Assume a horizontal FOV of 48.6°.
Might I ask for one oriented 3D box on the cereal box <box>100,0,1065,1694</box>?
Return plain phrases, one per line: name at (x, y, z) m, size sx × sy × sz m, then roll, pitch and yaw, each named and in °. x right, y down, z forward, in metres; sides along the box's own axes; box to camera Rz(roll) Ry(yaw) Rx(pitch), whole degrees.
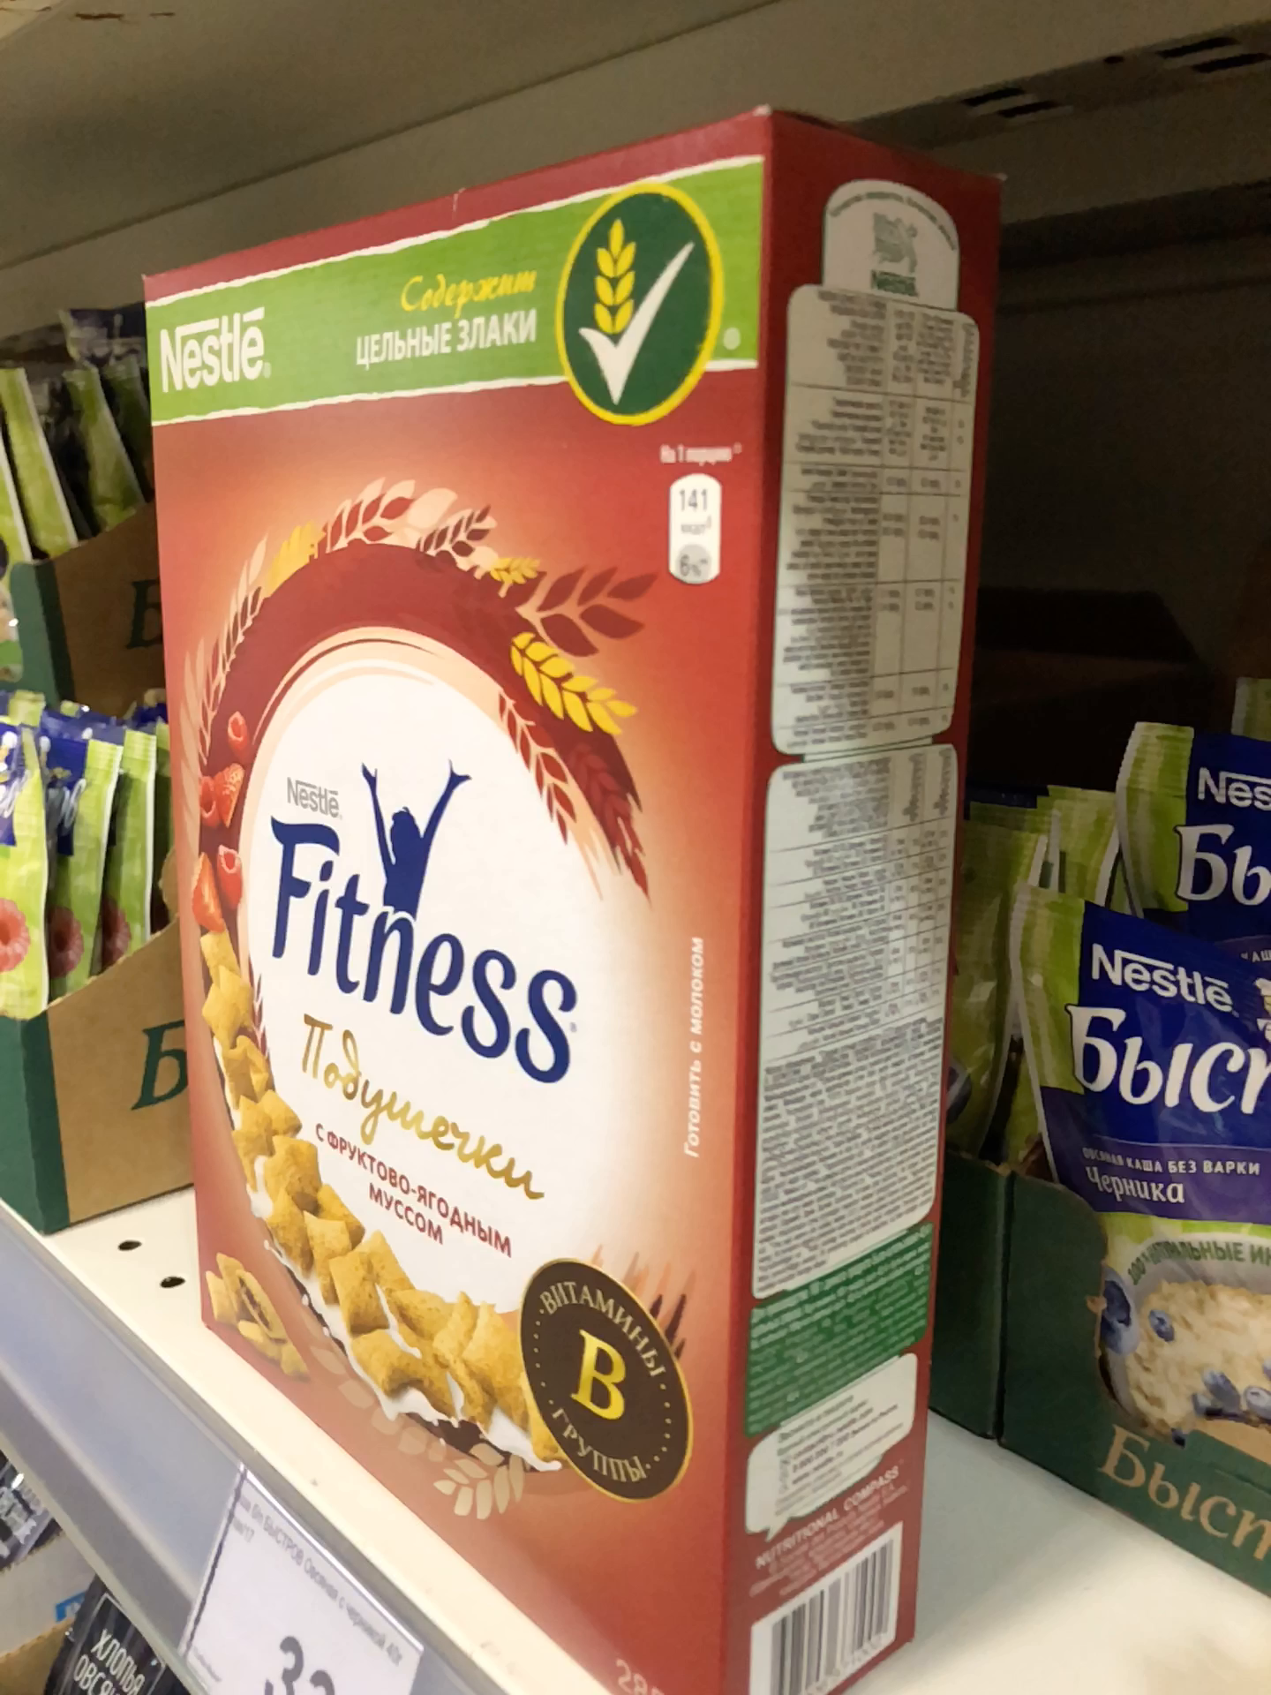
cereal box at (-0.026, 0.005, 0.251) m, size 0.050 × 0.239 × 0.180 m, roll -10°, pitch 16°, yaw -42°
